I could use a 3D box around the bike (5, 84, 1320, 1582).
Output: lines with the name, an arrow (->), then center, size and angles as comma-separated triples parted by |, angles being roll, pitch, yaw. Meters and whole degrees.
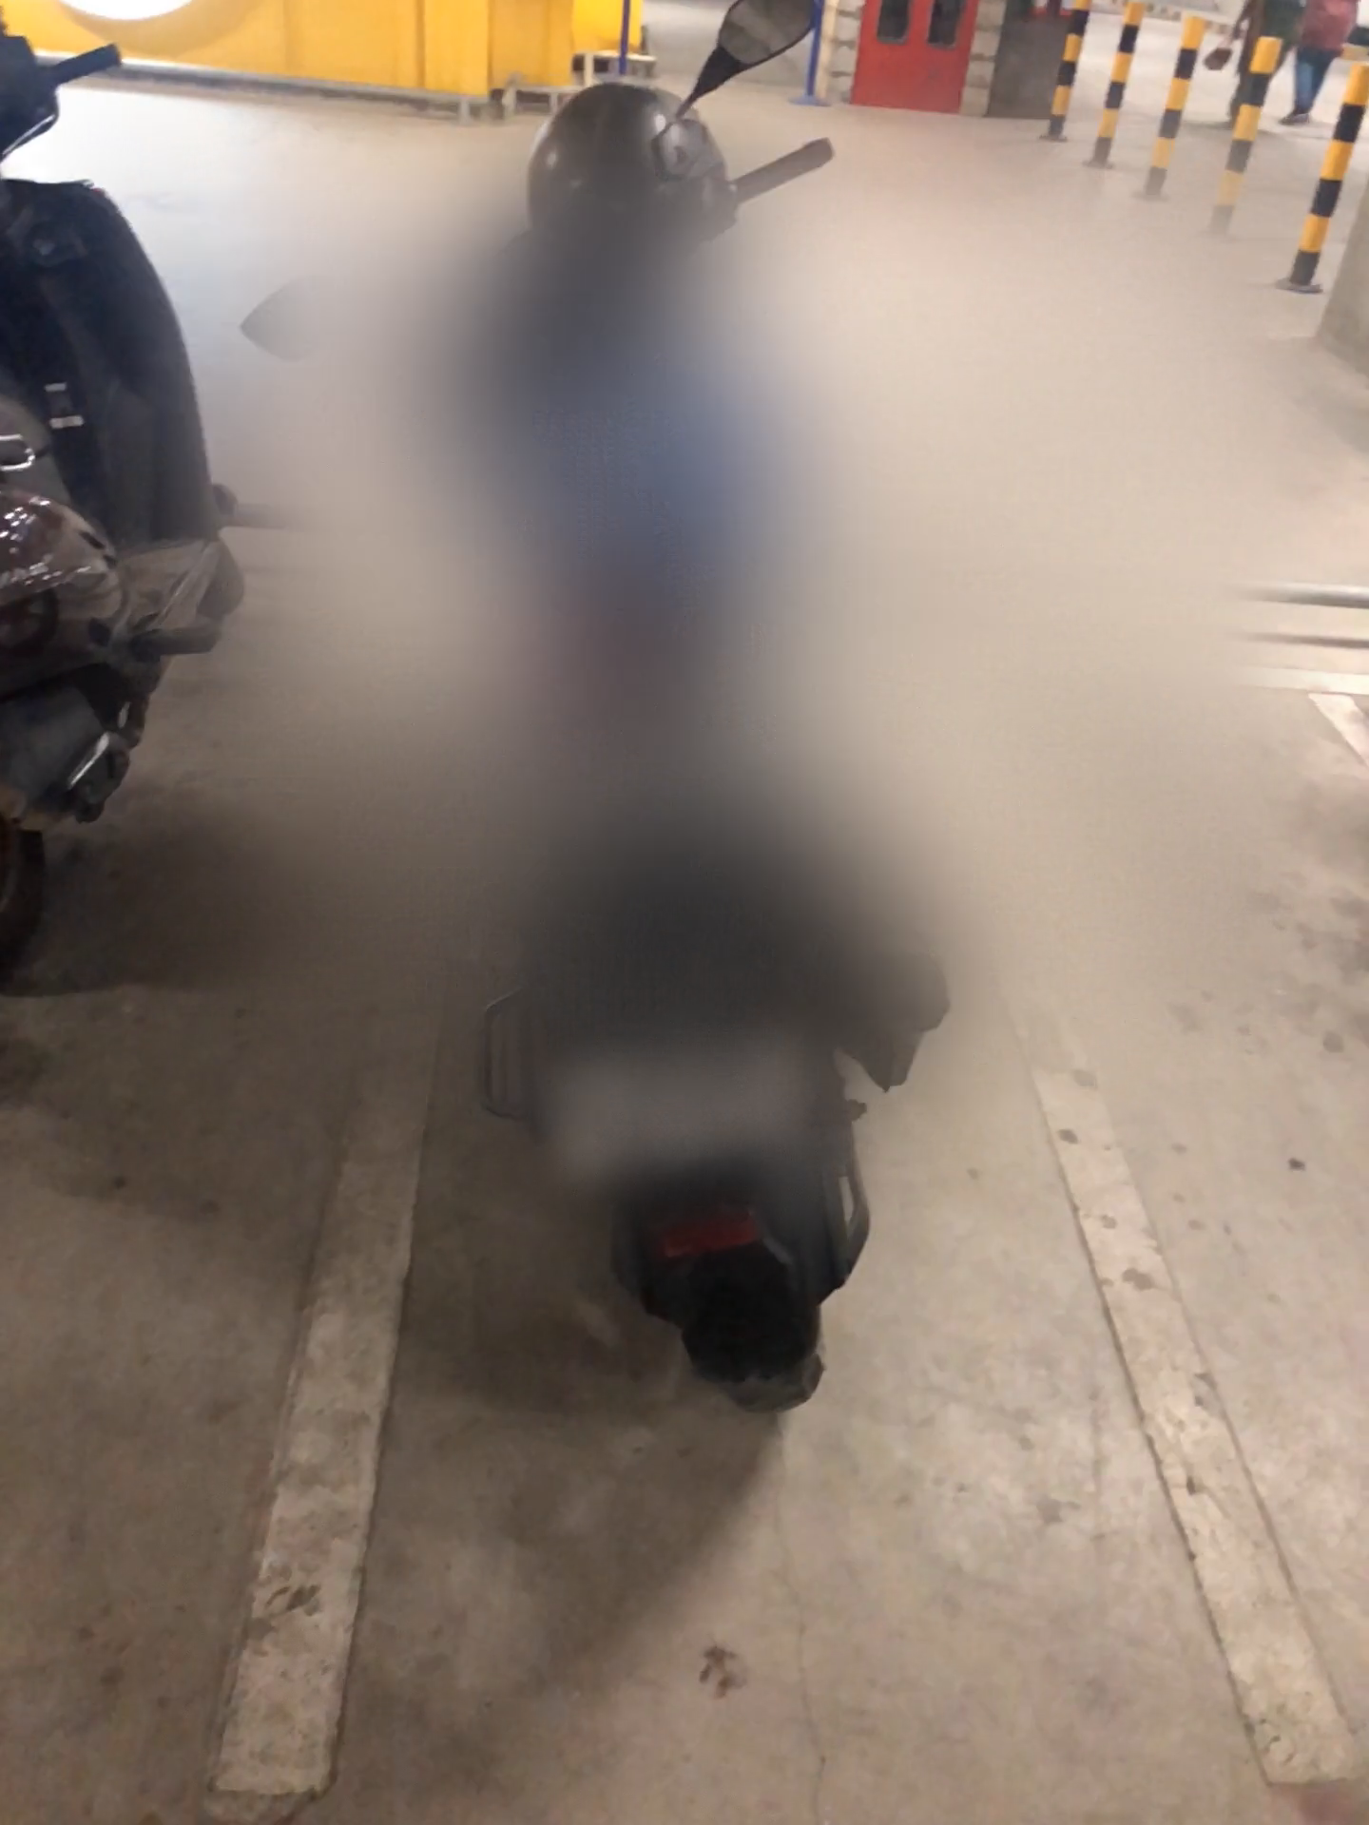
bike -> -0.196, -0.344, 2.057 | 0.806, 1.162, 1.996 | 0, 34, -10
